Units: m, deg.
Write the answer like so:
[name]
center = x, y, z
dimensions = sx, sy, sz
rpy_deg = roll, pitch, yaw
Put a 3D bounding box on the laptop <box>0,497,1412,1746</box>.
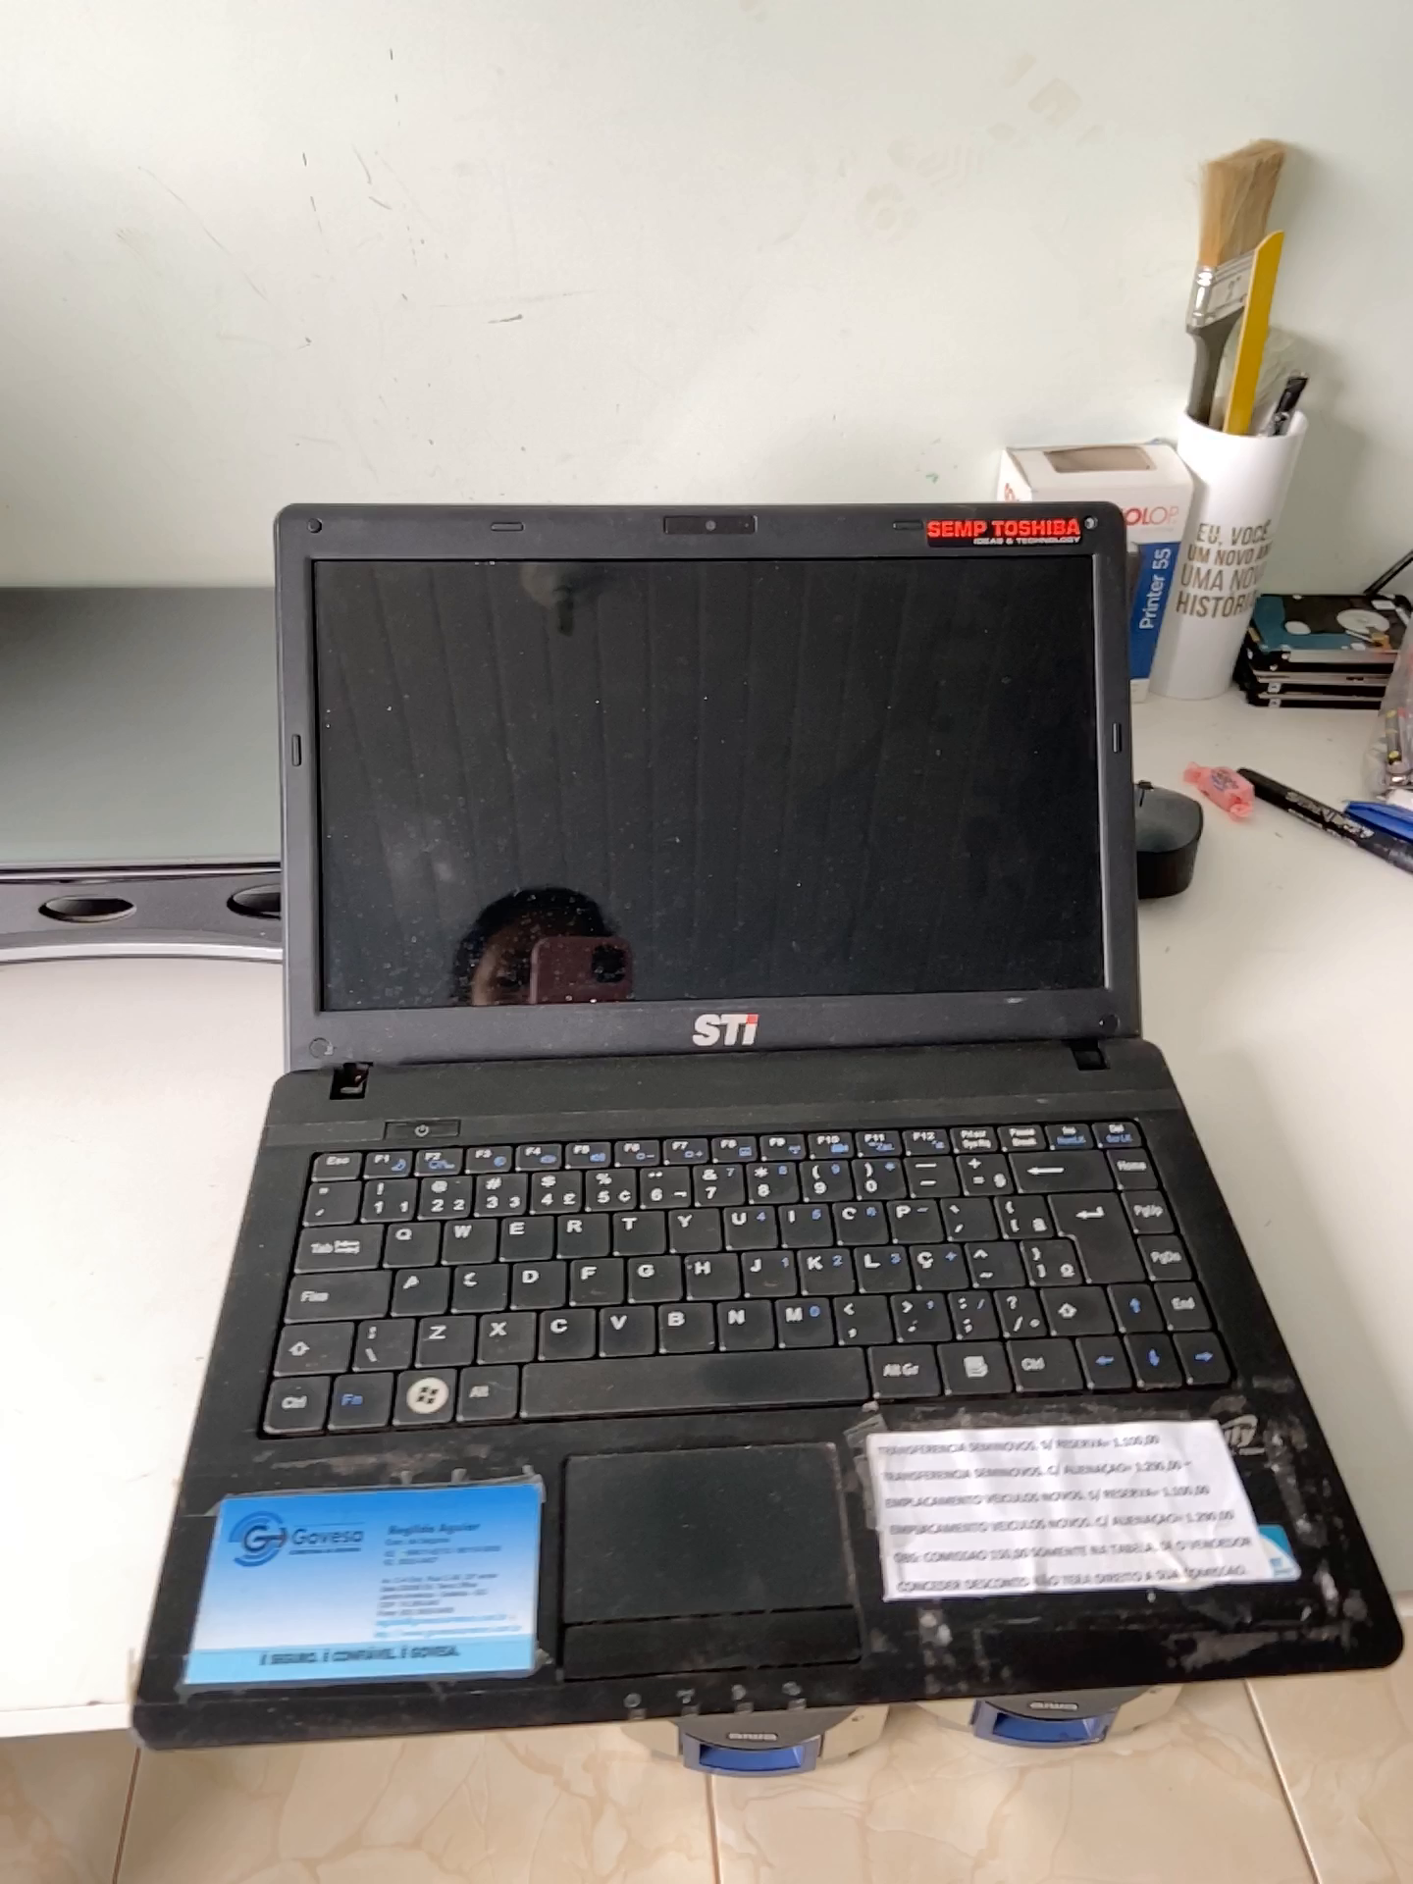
[laptop]
center = 0.014, 0.013, 0.477
dimensions = 0.334, 0.159, 0.387
rpy_deg = -2, 40, -3
